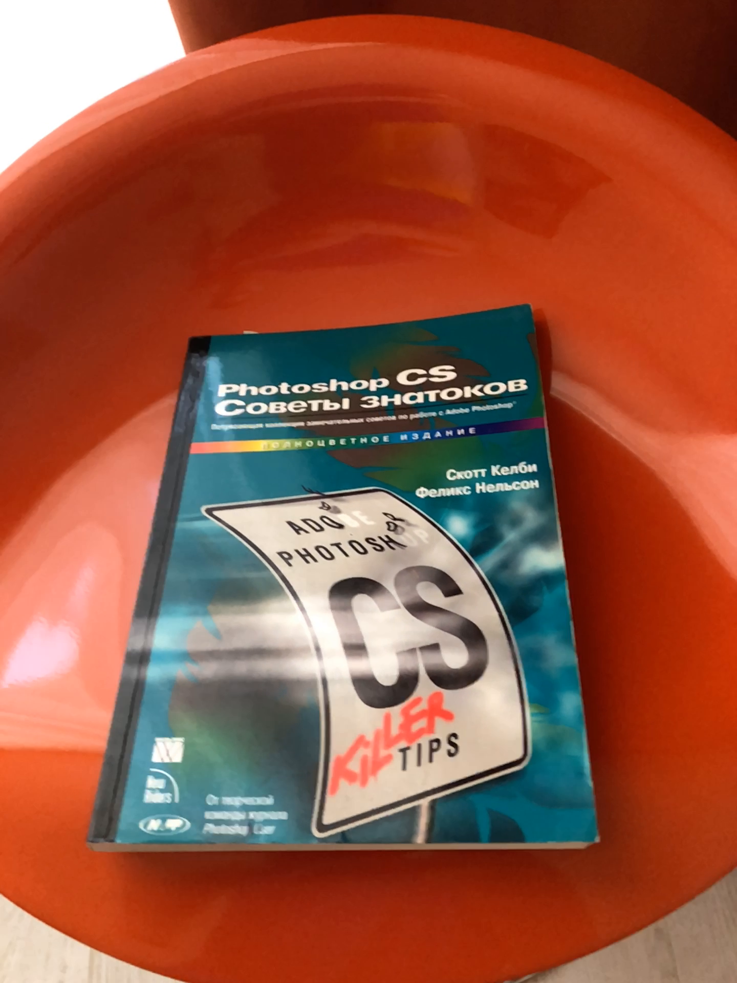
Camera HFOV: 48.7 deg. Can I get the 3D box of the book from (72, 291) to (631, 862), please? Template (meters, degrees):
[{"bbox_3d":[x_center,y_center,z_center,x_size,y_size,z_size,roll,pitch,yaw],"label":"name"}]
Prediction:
[{"bbox_3d":[-0.005,0.019,0.330,0.174,0.030,0.237,-4,54,7],"label":"book"}]
